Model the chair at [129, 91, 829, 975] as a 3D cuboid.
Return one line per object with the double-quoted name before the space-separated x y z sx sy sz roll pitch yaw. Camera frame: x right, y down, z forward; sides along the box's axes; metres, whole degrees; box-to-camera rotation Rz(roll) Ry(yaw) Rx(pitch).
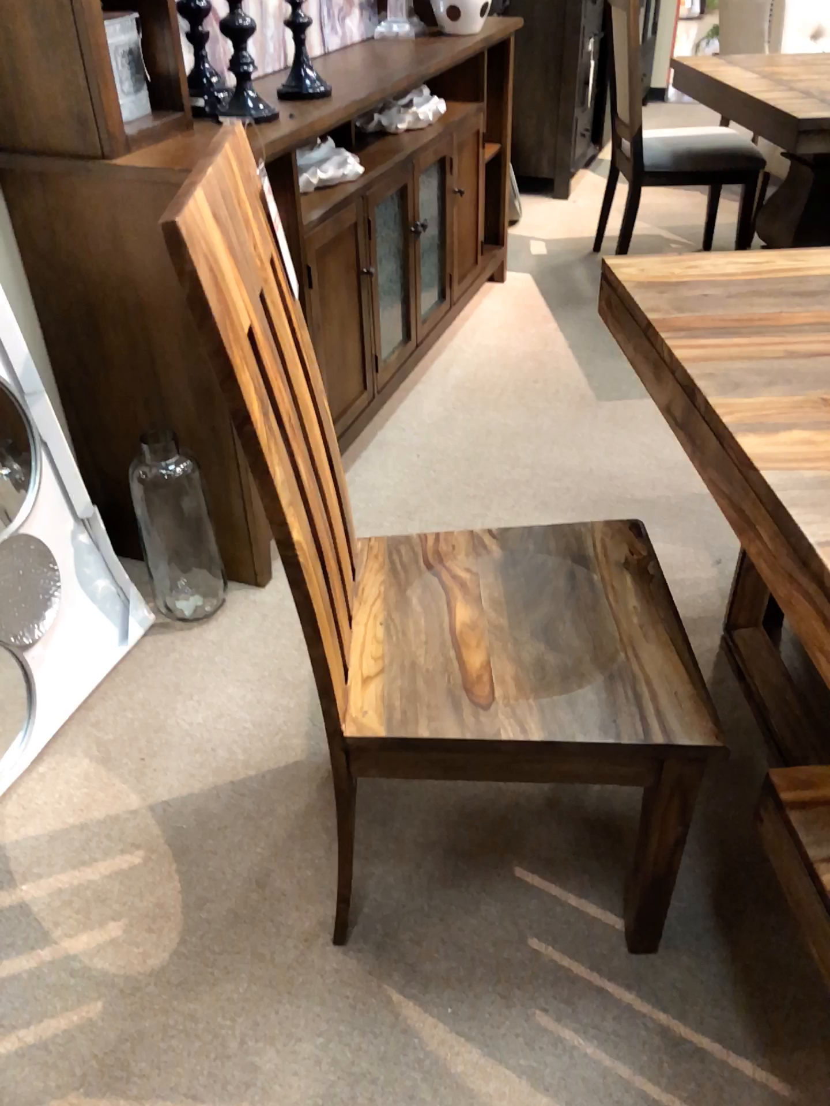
"chair" 0.086 0.019 1.176 0.590 1.023 0.514 -1 36 0
